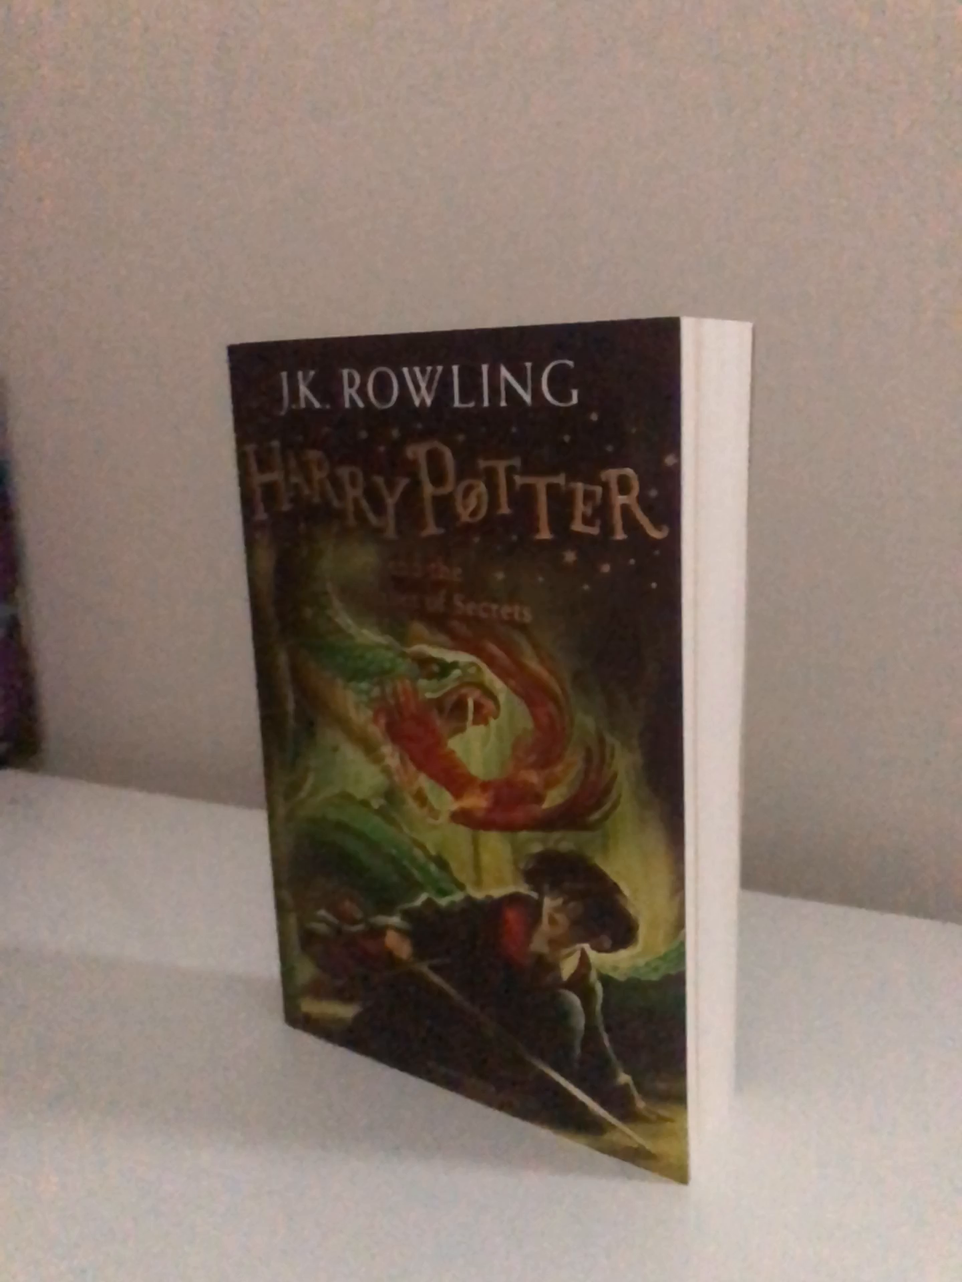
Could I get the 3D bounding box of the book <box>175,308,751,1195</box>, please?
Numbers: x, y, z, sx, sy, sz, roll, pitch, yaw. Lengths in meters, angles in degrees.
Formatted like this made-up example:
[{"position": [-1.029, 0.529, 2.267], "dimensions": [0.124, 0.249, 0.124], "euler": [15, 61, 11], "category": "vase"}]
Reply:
[{"position": [-0.003, 0.021, 0.267], "dimensions": [0.130, 0.190, 0.039], "euler": [7, 19, 33], "category": "book"}]
